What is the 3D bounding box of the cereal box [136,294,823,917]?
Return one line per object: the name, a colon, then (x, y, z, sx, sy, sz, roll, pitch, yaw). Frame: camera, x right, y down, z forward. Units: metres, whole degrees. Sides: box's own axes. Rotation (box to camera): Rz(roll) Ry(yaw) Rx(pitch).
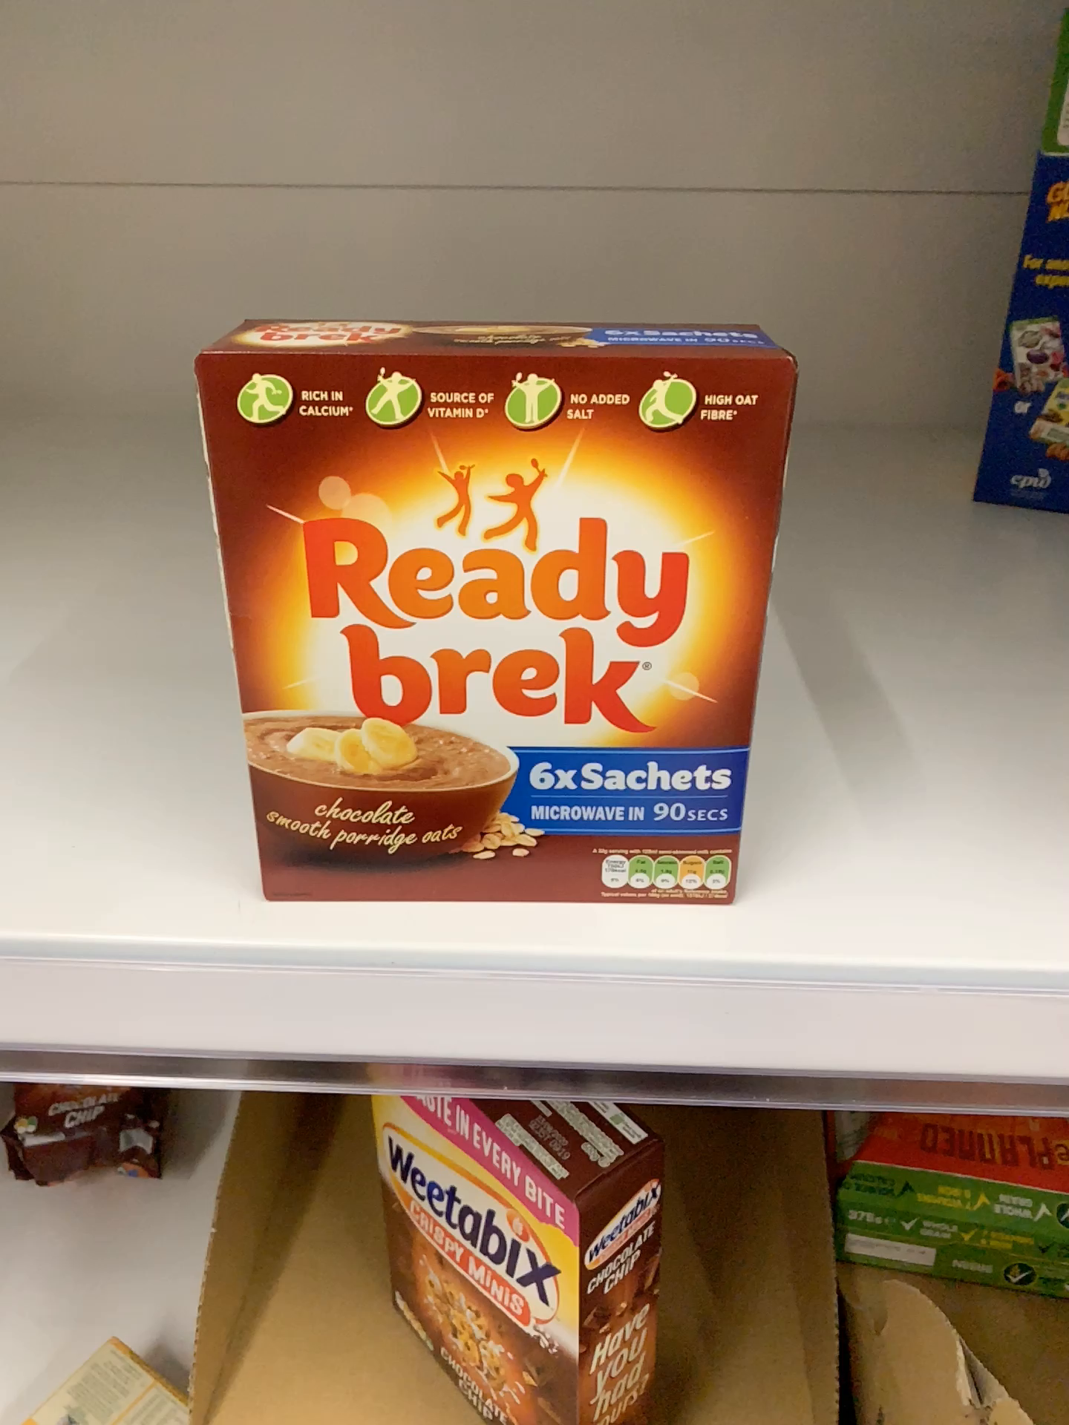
cereal box: (-0.015, -0.031, 0.359, 0.180, 0.188, 0.061, 1, 27, 1)
